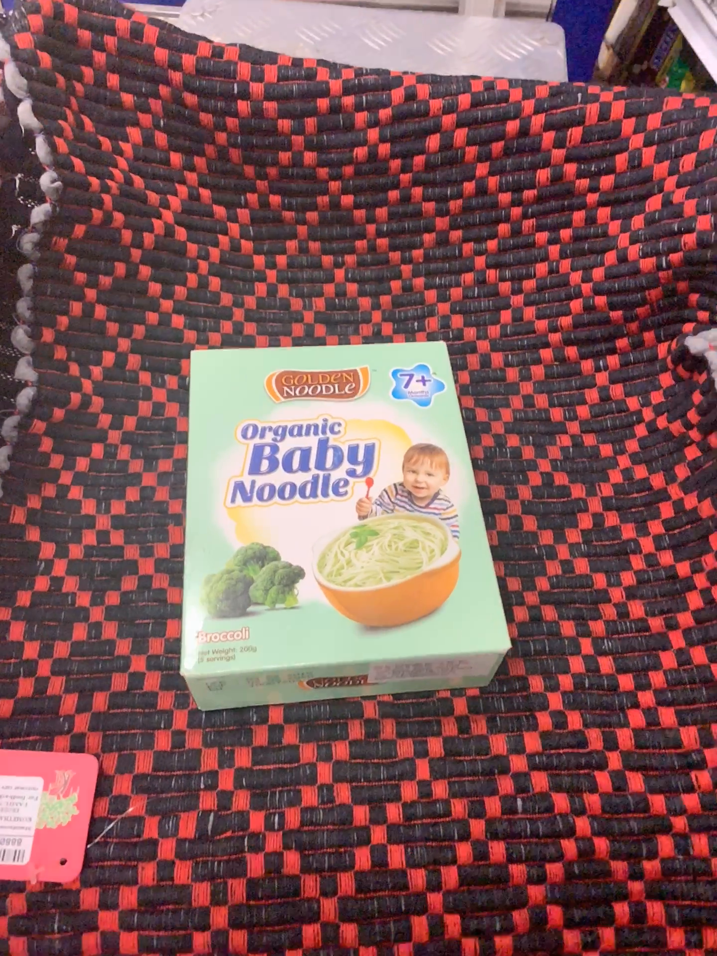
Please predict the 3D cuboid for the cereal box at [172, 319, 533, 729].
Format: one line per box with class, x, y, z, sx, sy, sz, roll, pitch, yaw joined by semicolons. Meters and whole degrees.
cereal box;-0.010;0.014;0.335;0.130;0.060;0.170;-3;58;-6
